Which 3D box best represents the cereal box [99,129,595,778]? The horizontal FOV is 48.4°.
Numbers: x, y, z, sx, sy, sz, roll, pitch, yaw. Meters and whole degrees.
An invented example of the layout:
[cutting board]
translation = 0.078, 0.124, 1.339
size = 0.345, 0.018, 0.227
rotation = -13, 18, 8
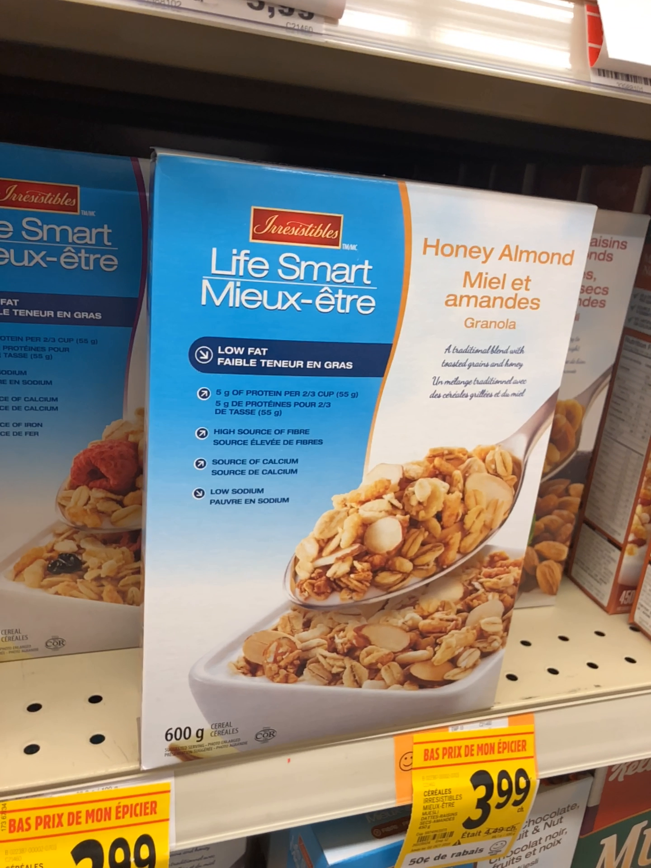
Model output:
[cereal box]
translation = -0.004, 0.012, 0.303
size = 0.170, 0.239, 0.060
rotation = 0, 20, -19
